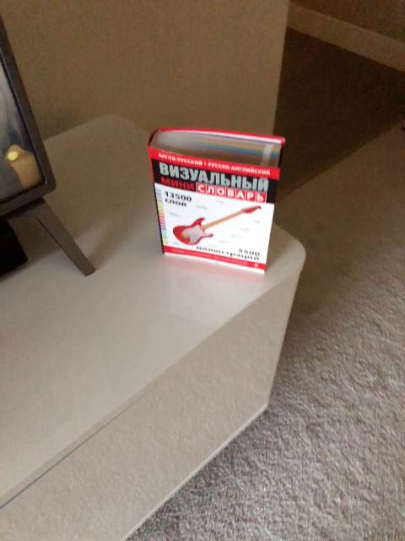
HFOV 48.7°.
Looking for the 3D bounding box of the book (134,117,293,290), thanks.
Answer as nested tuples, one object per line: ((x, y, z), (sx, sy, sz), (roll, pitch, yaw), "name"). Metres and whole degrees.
((0.012, -0.070, 0.514), (0.150, 0.179, 0.060), (10, 49, 8), "book")
